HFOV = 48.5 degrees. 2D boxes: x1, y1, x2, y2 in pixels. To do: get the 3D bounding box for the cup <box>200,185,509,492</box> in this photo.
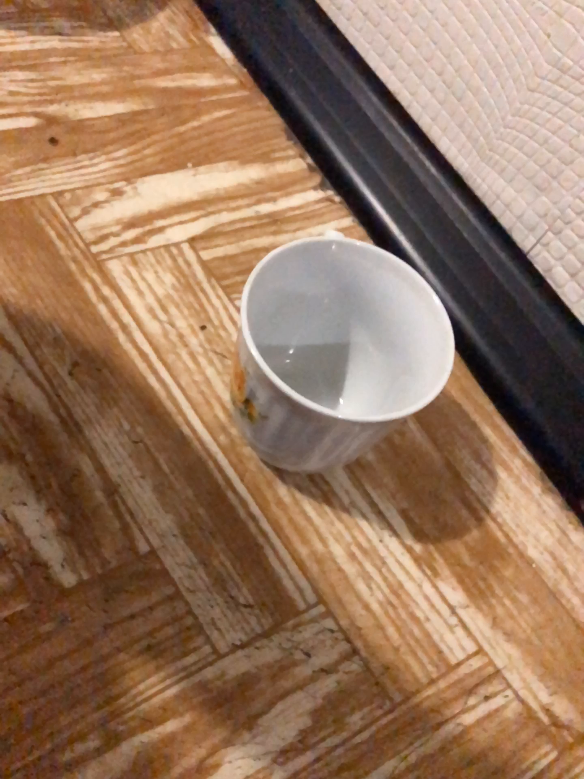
[{"bbox_3d":[0.016,-0.017,0.264,0.094,0.069,0.097,8,60,-13],"label":"cup"}]
